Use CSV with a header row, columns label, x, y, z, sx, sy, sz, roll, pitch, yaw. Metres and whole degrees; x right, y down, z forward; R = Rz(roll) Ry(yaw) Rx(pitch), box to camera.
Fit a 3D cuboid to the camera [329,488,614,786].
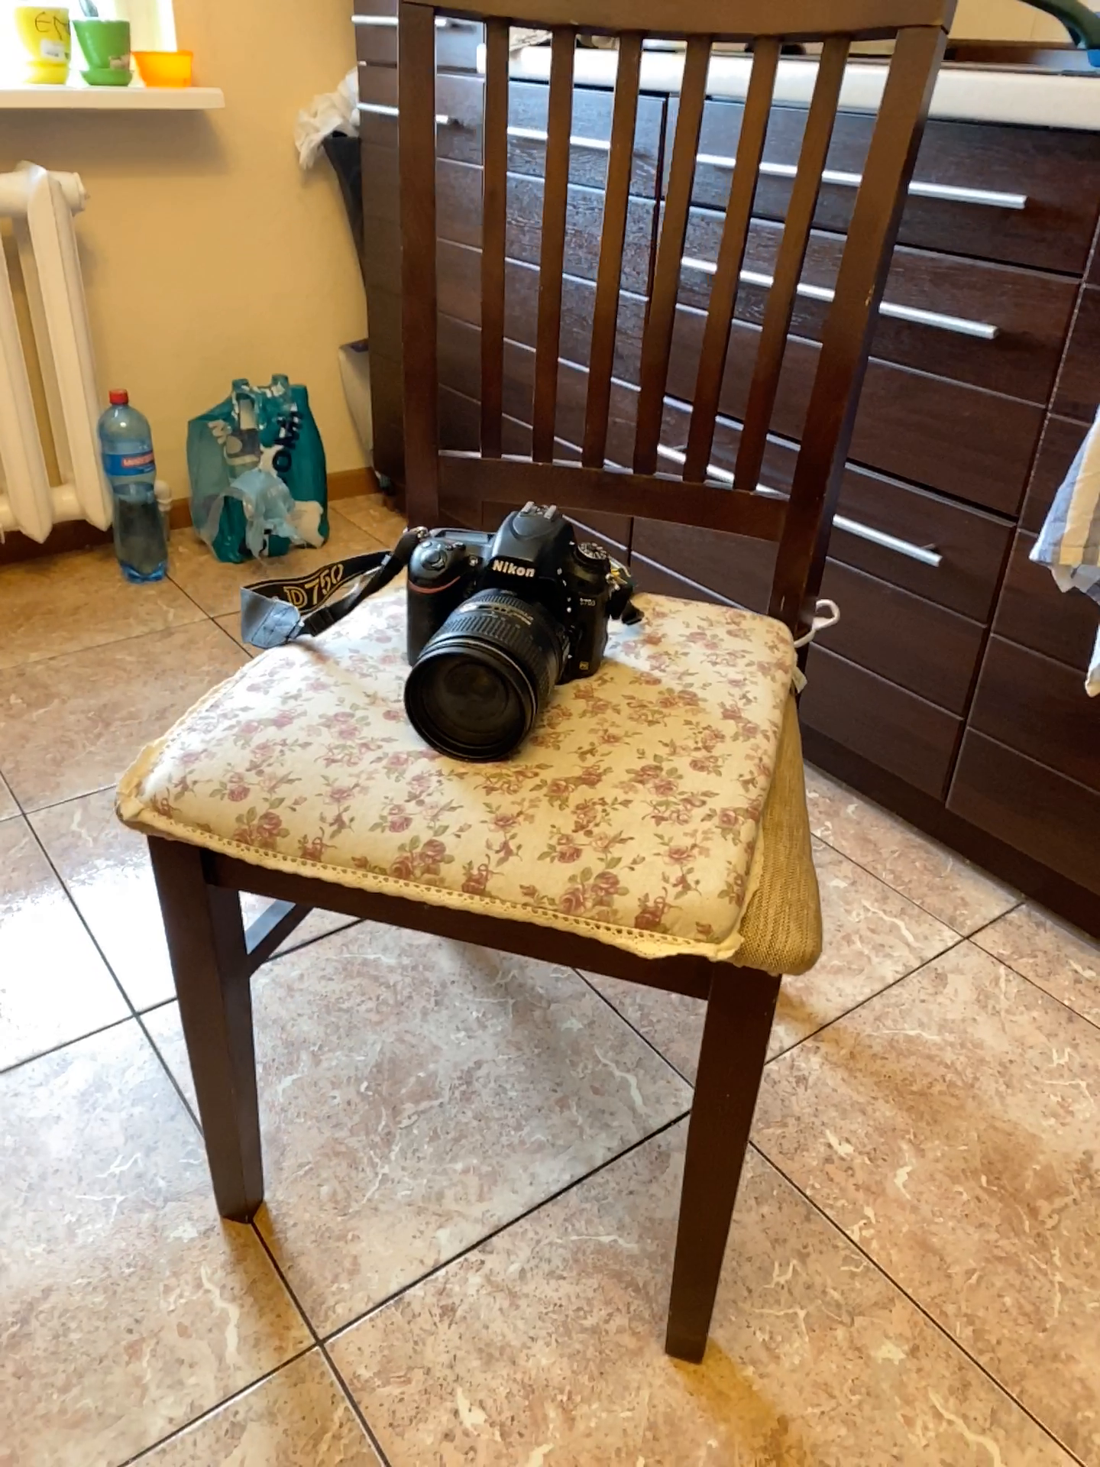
label,x,y,z,sx,sy,sz,roll,pitch,yaw
camera,-0.045,-0.070,0.732,0.135,0.119,0.165,9,31,11
